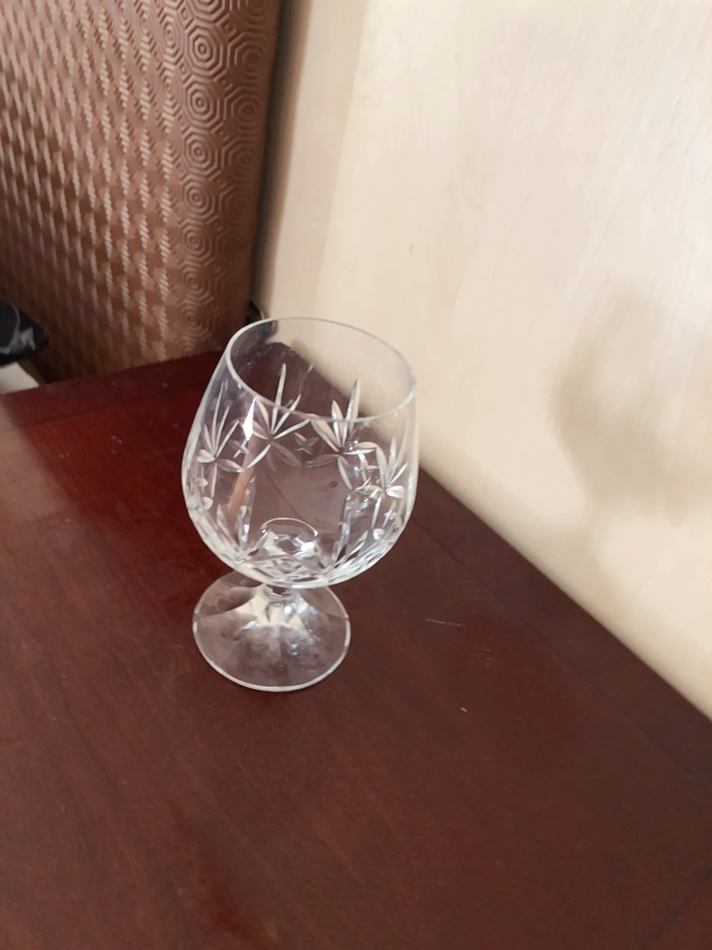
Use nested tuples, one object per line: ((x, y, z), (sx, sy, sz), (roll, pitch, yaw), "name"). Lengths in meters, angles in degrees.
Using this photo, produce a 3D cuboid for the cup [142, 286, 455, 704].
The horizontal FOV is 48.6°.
((-0.027, 0.010, 0.310), (0.089, 0.125, 0.088), (10, 36, -8), "cup")
